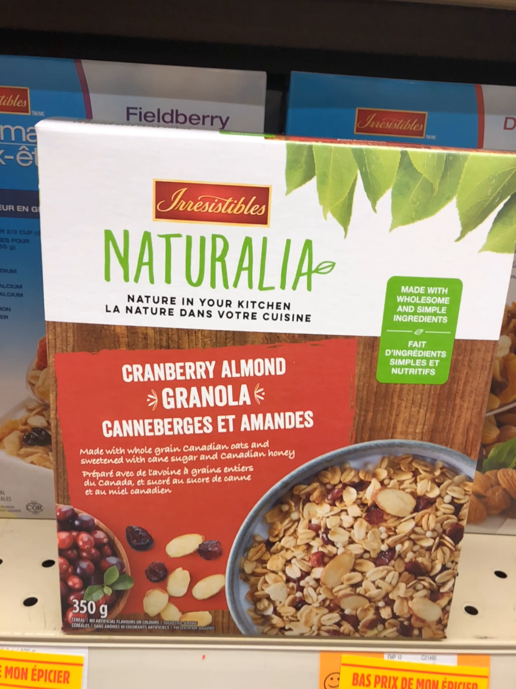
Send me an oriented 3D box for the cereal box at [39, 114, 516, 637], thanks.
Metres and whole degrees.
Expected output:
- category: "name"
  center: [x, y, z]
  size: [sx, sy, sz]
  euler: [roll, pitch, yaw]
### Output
- category: "cereal box"
  center: [0.008, 0.019, 0.250]
  size: [0.170, 0.209, 0.060]
  euler: [3, 19, -3]
